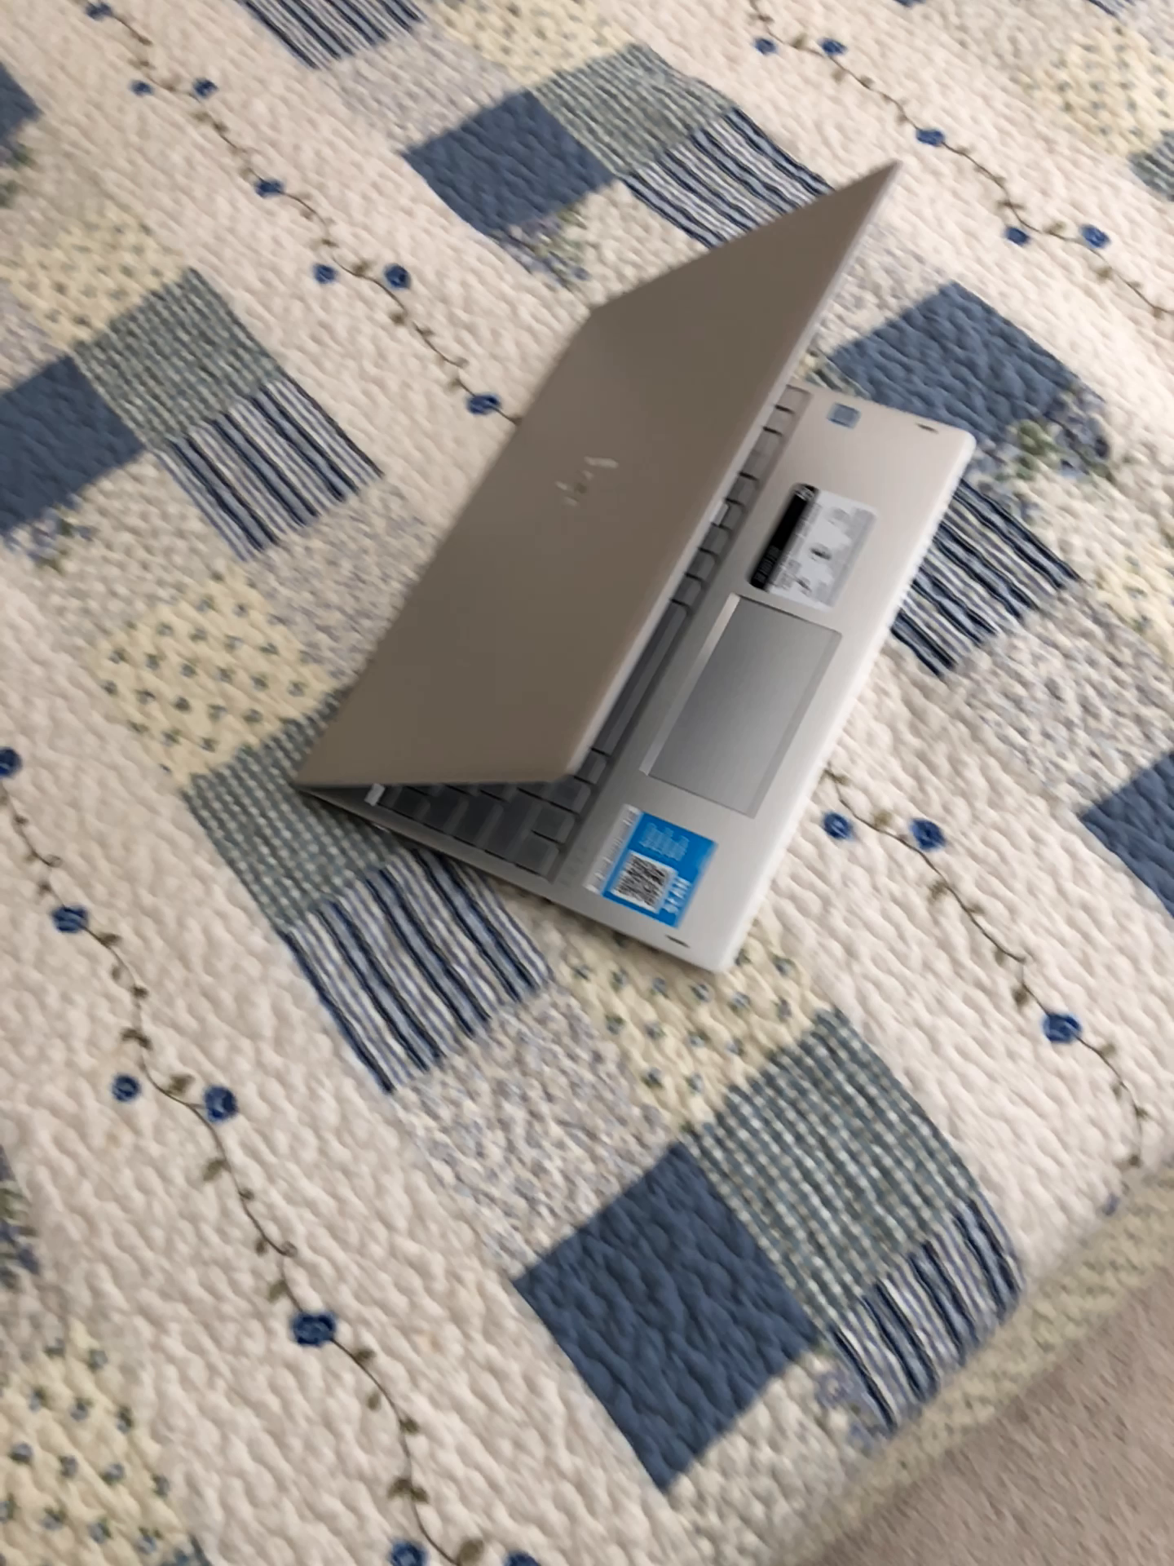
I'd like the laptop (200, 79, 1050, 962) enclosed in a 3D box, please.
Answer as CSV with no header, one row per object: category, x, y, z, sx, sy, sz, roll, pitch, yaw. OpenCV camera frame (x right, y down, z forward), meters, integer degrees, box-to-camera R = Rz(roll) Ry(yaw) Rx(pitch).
laptop,0.031,-0.136,0.634,0.242,0.158,0.348,22,69,15
